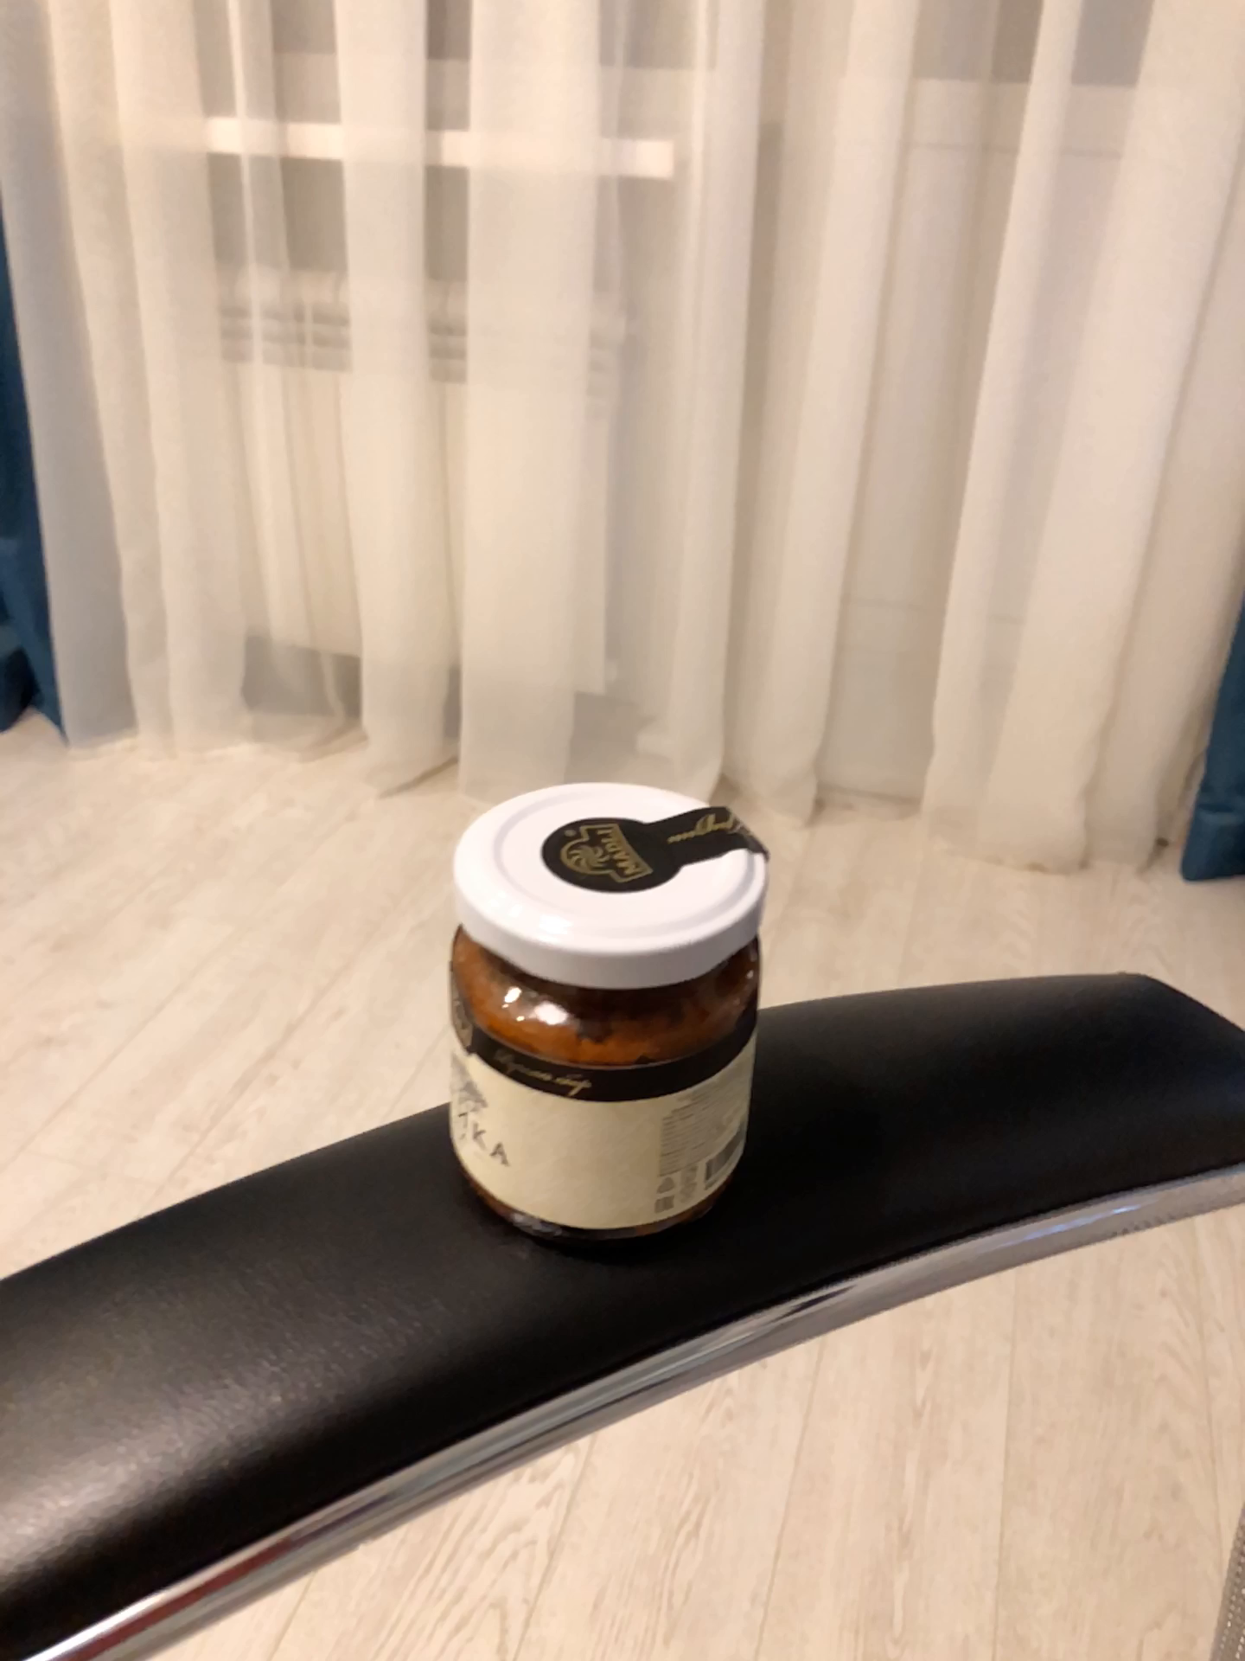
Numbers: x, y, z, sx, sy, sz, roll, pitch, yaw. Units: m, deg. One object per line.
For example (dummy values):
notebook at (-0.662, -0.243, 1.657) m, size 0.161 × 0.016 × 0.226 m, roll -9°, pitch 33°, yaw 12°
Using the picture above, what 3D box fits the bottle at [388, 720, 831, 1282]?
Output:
bottle at (-0.006, 0.027, 0.247) m, size 0.060 × 0.070 × 0.060 m, roll -7°, pitch 30°, yaw -15°
